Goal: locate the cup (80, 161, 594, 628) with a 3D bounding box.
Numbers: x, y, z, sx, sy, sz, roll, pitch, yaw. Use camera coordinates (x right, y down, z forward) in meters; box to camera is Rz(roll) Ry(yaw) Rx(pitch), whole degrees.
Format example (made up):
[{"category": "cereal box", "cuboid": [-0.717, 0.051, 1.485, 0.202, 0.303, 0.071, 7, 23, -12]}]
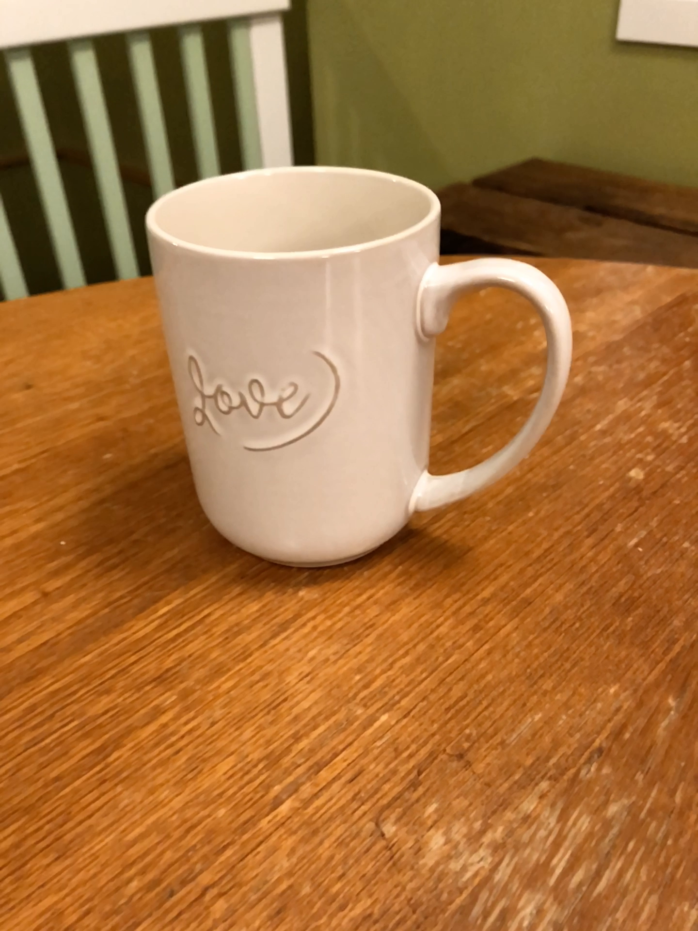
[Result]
[{"category": "cup", "cuboid": [0.004, -0.029, 0.272, 0.134, 0.124, 0.092, 5, 35, 10]}]
